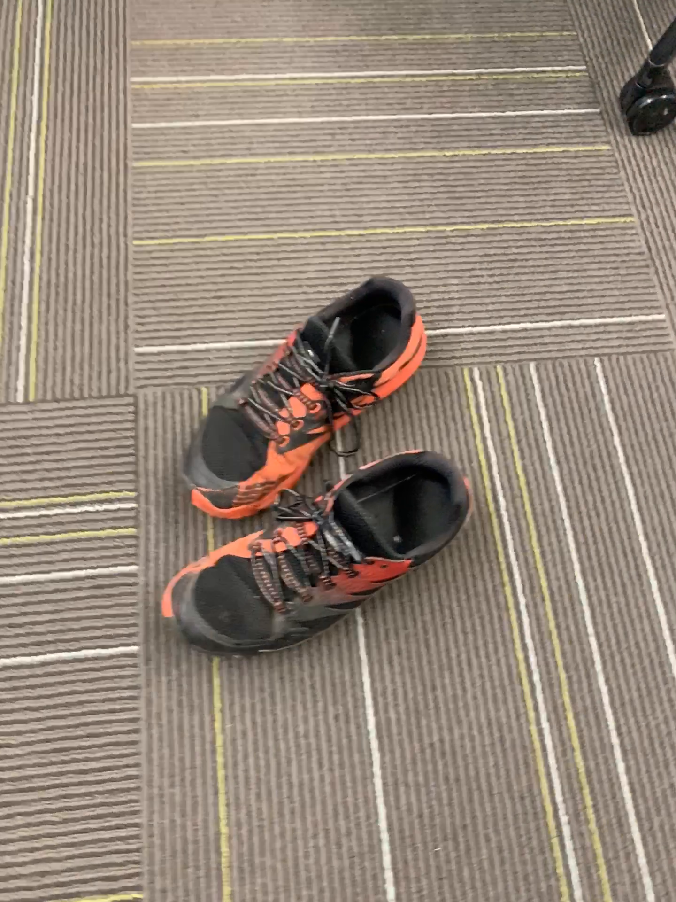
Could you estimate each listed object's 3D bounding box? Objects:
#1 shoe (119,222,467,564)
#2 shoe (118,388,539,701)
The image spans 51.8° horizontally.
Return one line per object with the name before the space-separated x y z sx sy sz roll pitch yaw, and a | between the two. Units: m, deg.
shoe | -0.036 -0.057 0.686 0.130 0.130 0.310 43 73 12
shoe | -0.007 0.086 0.630 0.320 0.130 0.130 -25 73 -12
